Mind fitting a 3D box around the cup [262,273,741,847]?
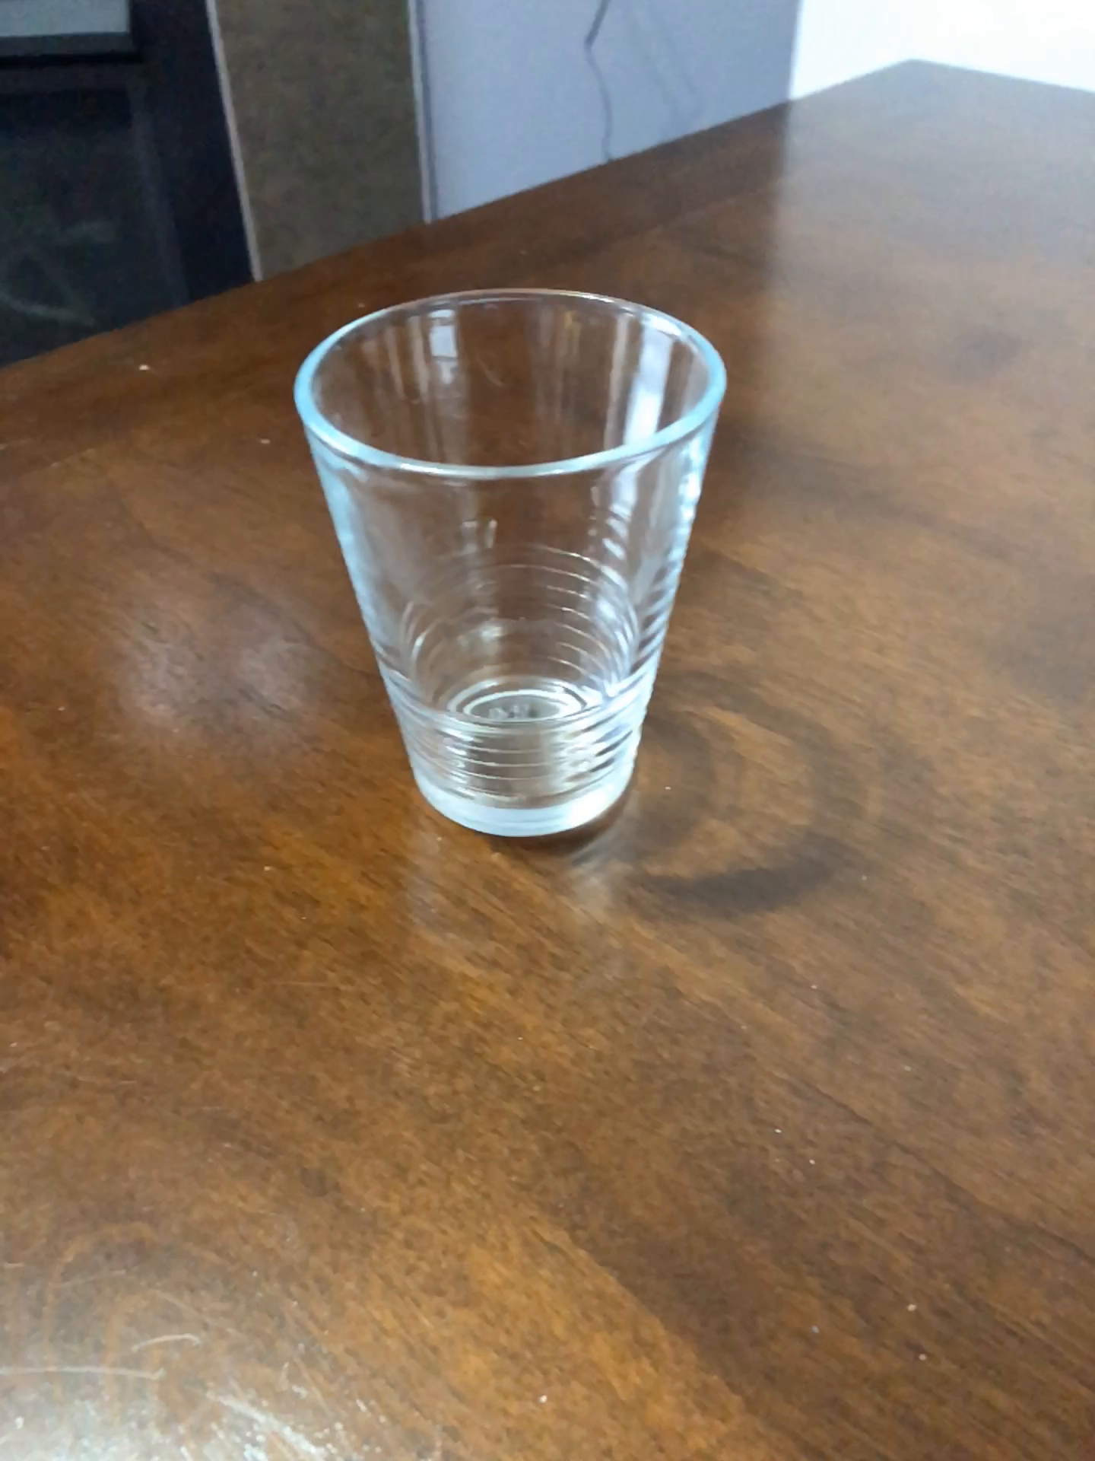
[{"bbox_3d":[-0.007,-0.035,0.263,0.080,0.100,0.070,0,40,1],"label":"cup"}]
